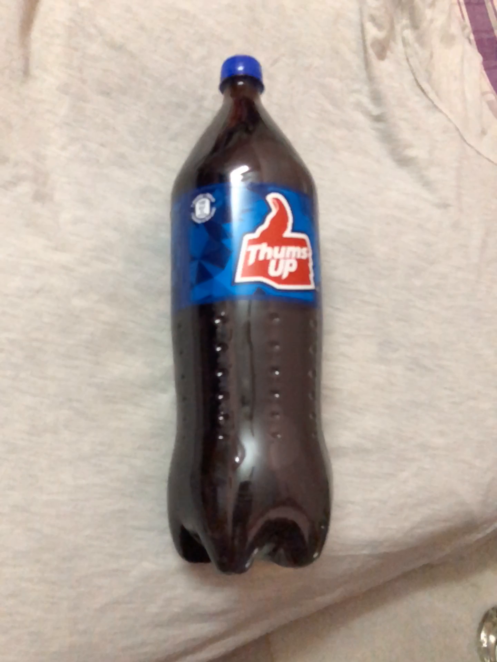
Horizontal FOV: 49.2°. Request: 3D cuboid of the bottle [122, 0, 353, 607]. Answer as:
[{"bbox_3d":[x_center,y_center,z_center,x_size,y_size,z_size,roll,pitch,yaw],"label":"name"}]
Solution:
[{"bbox_3d":[-0.011,-0.028,0.295,0.100,0.060,0.300,2,80,-22],"label":"bottle"}]
